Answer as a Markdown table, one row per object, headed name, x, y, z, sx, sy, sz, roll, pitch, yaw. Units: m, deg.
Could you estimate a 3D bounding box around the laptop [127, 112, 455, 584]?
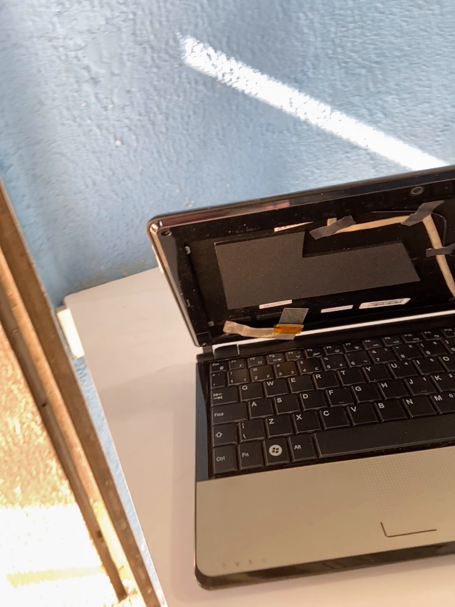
| name | x | y | z | sx | sy | sz | roll | pitch | yaw |
| --- | --- | --- | --- | --- | --- | --- | --- | --- | --- |
| laptop | 0.105 | 0.007 | 0.270 | 0.275 | 0.144 | 0.177 | -9 | 30 | 2 |
